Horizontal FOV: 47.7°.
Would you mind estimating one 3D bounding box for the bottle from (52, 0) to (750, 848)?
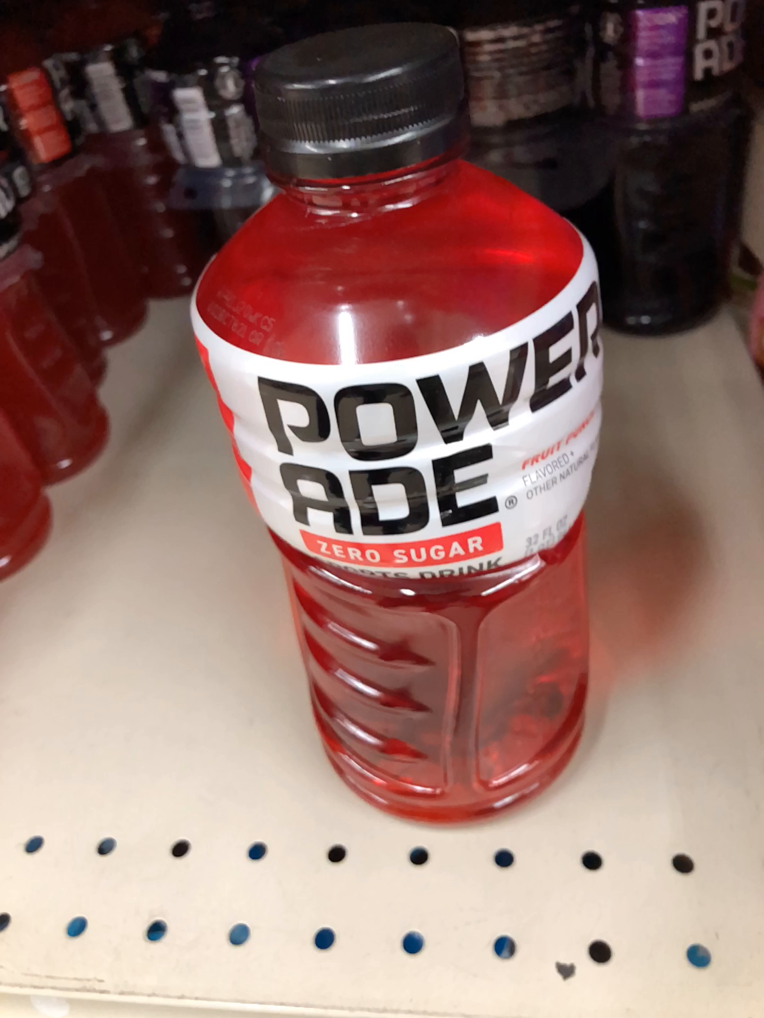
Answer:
[{"bbox_3d":[0.012,-0.013,0.214,0.095,0.190,0.095,-6,41,5],"label":"bottle"}]
